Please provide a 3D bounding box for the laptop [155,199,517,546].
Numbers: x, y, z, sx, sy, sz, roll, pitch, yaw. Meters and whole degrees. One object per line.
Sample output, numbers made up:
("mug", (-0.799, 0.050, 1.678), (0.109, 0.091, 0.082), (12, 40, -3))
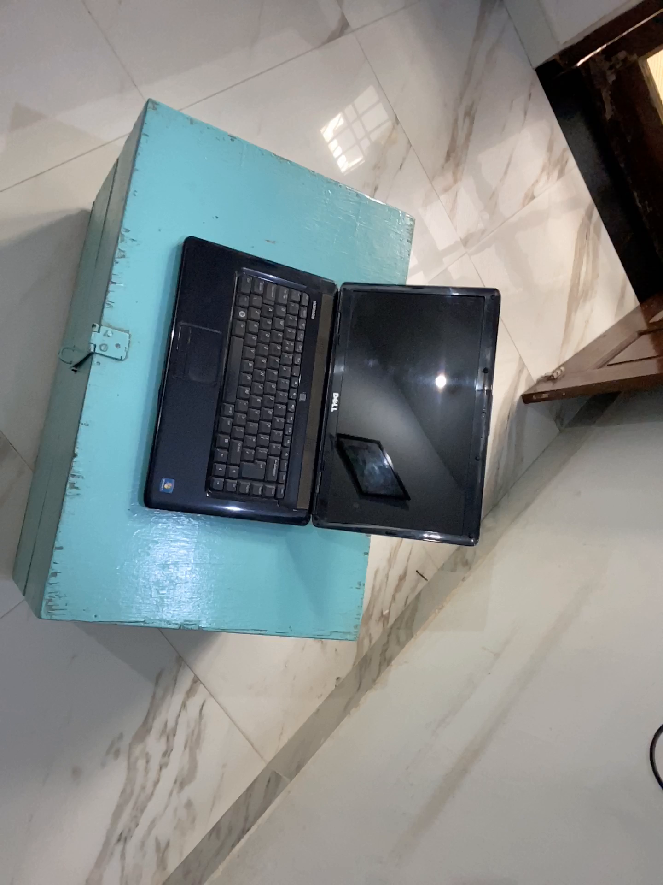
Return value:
("laptop", (0.019, -0.065, 0.915), (0.413, 0.162, 0.363), (10, 82, -27))
